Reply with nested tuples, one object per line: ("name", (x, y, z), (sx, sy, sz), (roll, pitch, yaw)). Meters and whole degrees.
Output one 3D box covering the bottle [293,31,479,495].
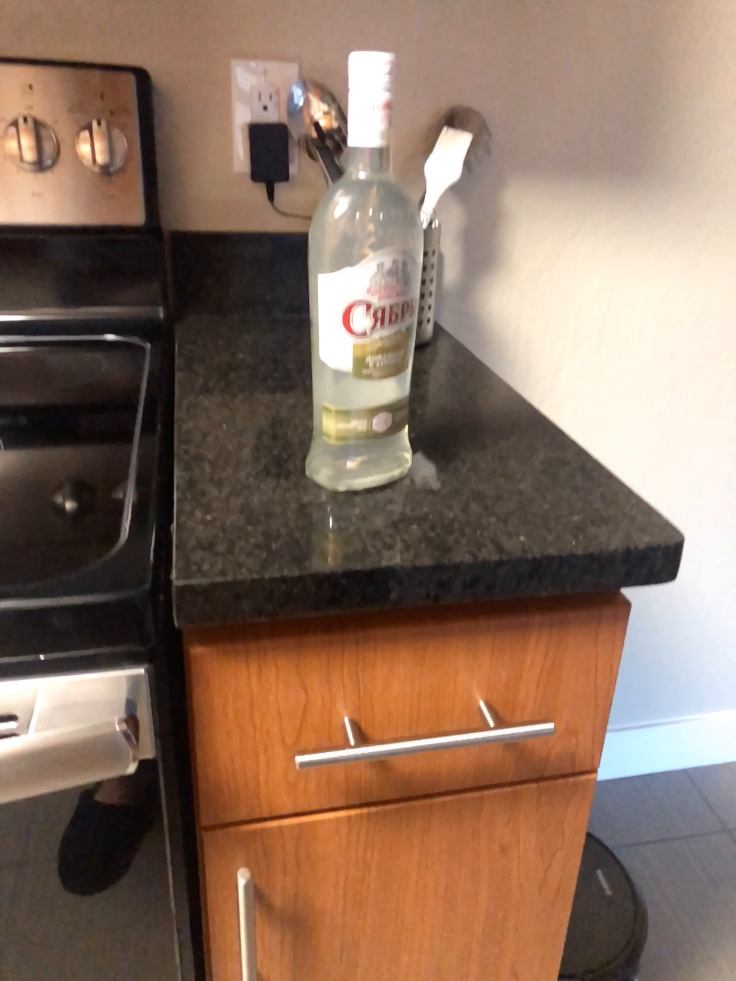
("bottle", (0.006, -0.140, 0.529), (0.090, 0.269, 0.060), (-12, 28, -30))
